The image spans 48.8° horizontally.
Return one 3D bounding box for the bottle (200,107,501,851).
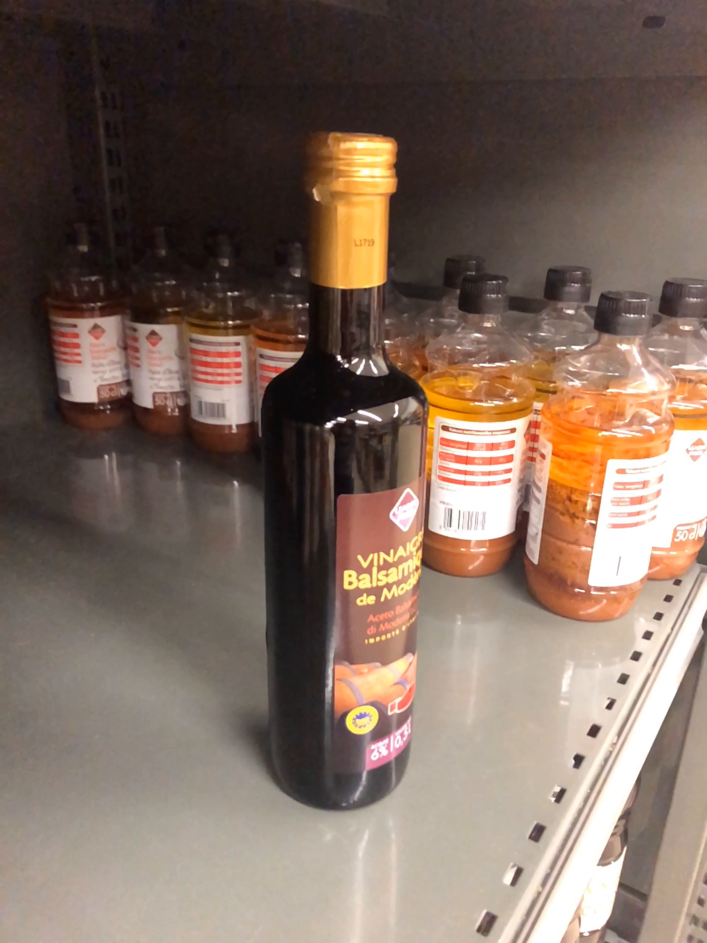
[{"bbox_3d":[-0.004,0.007,0.306,0.070,0.269,0.070,1,22,-1],"label":"bottle"}]
